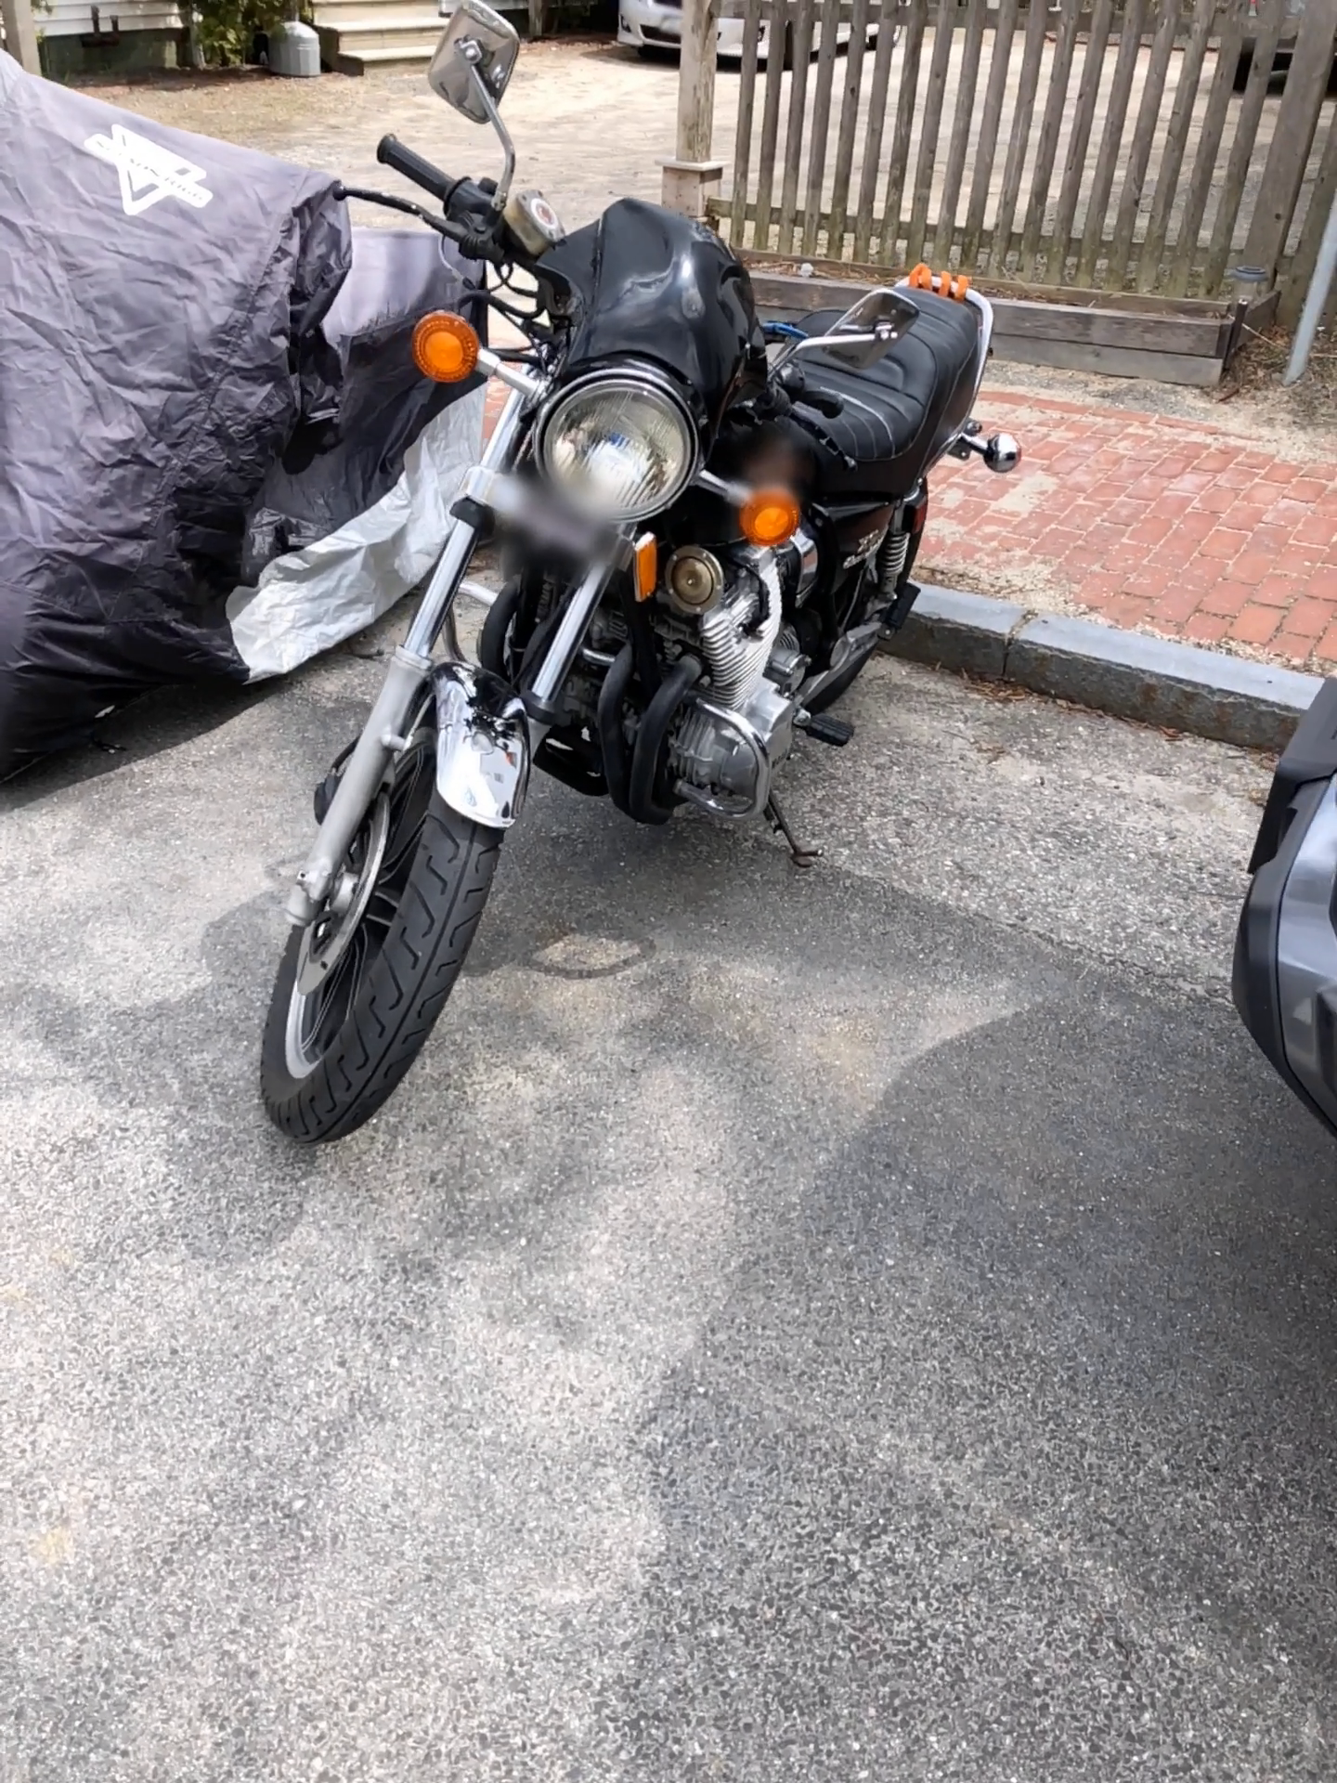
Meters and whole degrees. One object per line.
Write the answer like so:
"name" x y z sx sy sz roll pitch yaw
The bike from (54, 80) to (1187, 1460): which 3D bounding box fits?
"bike" 0.144 -0.446 2.241 0.709 1.157 1.979 17 38 20
